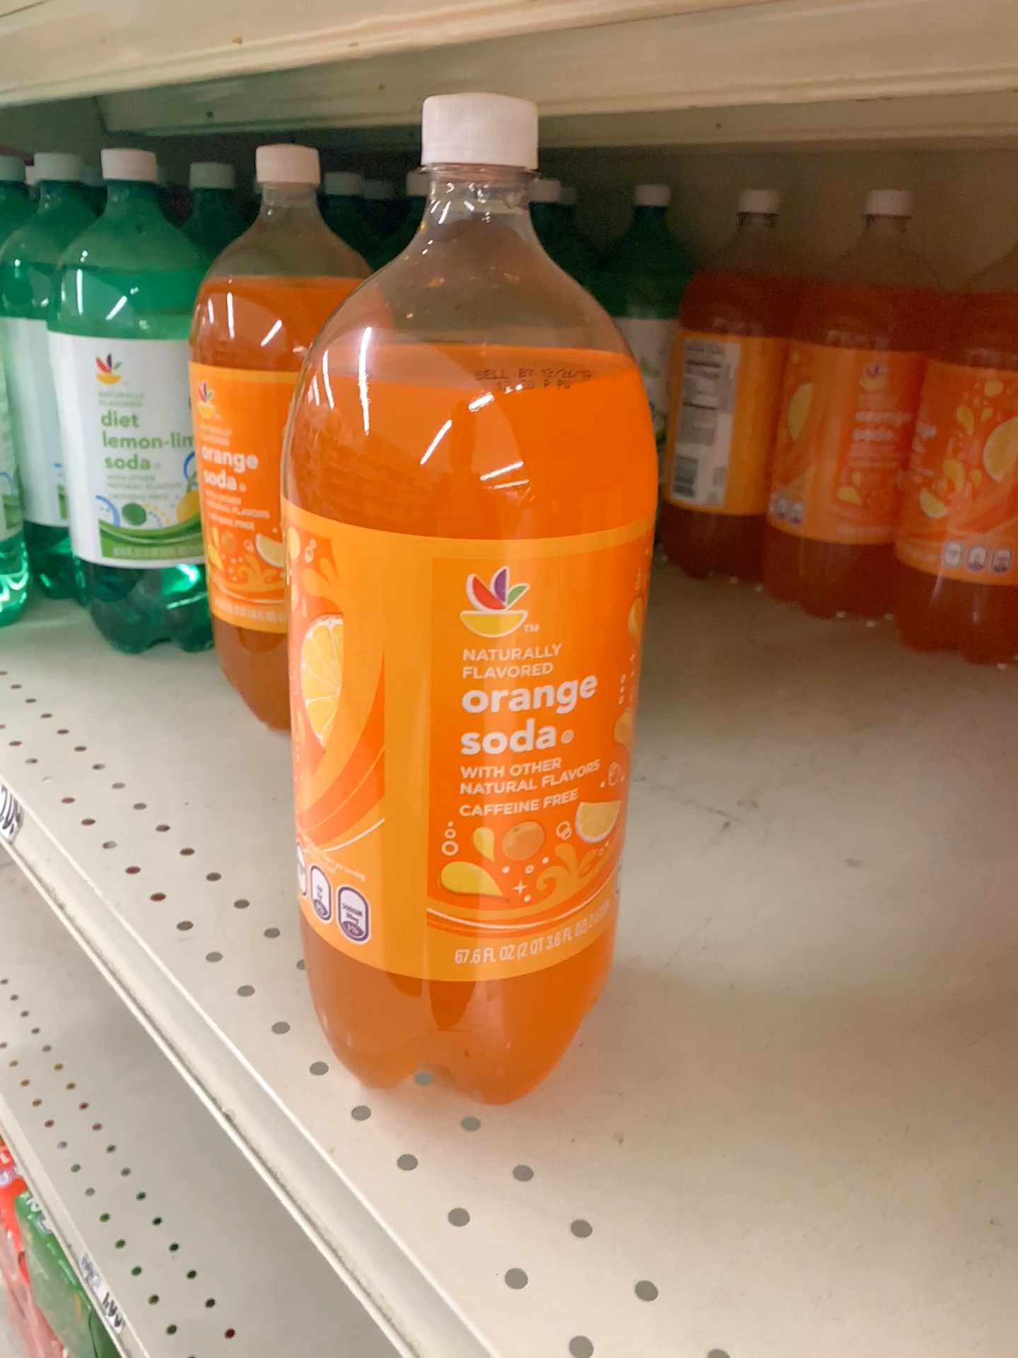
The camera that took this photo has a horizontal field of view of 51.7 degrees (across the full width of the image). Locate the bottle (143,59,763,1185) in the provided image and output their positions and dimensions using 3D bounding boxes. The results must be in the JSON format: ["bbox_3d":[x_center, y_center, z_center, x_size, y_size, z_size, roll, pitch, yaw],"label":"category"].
[{"bbox_3d":[-0.009,-0.013,0.318,0.120,0.288,0.111,1,24,-1],"label":"bottle"}]
